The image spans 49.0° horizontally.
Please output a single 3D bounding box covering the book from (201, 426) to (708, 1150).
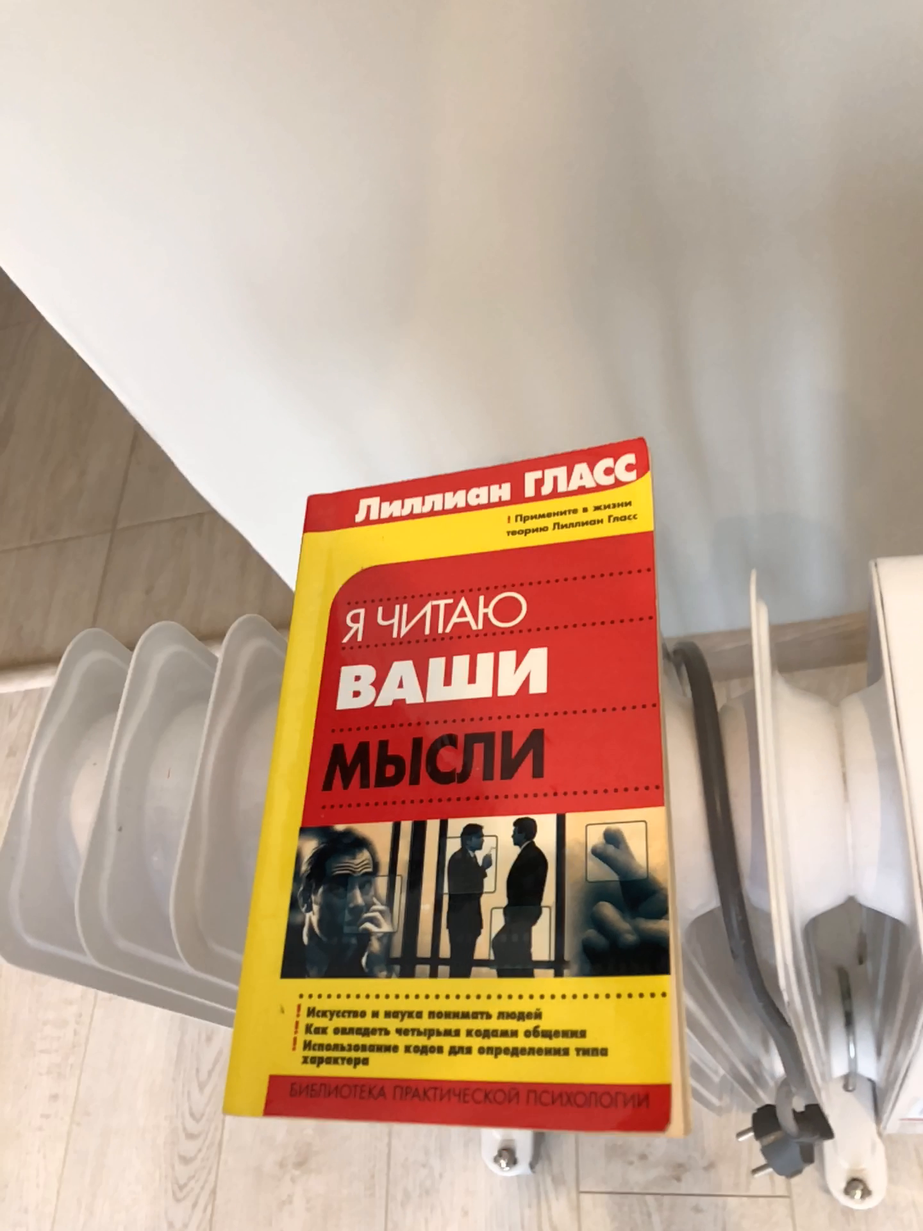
[{"bbox_3d":[0.001,0.041,0.306,0.128,0.020,0.207,-7,59,18],"label":"book"}]
